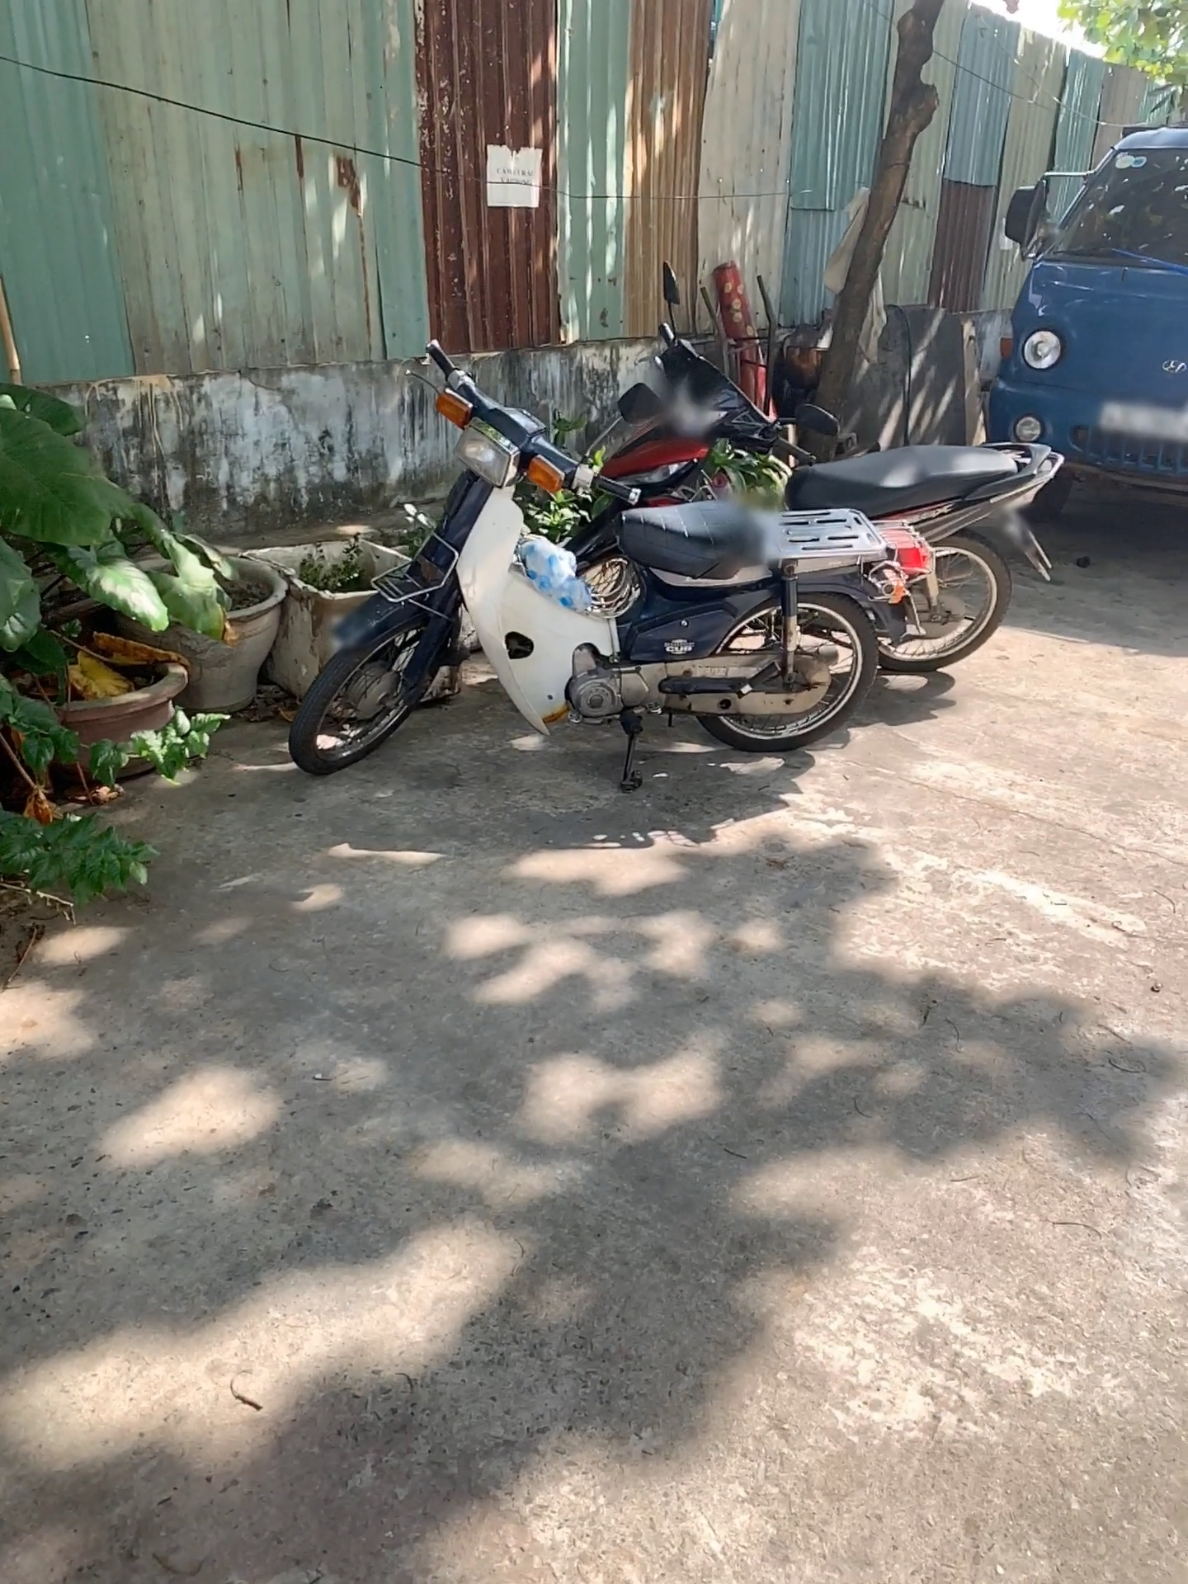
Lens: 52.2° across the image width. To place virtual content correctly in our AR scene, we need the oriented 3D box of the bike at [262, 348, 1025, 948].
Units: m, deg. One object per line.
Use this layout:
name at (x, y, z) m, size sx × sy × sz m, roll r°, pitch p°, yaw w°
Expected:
bike at (0.068, -0.399, 2.781) m, size 1.476 × 1.024 × 0.655 m, roll -9°, pitch 27°, yaw -17°
